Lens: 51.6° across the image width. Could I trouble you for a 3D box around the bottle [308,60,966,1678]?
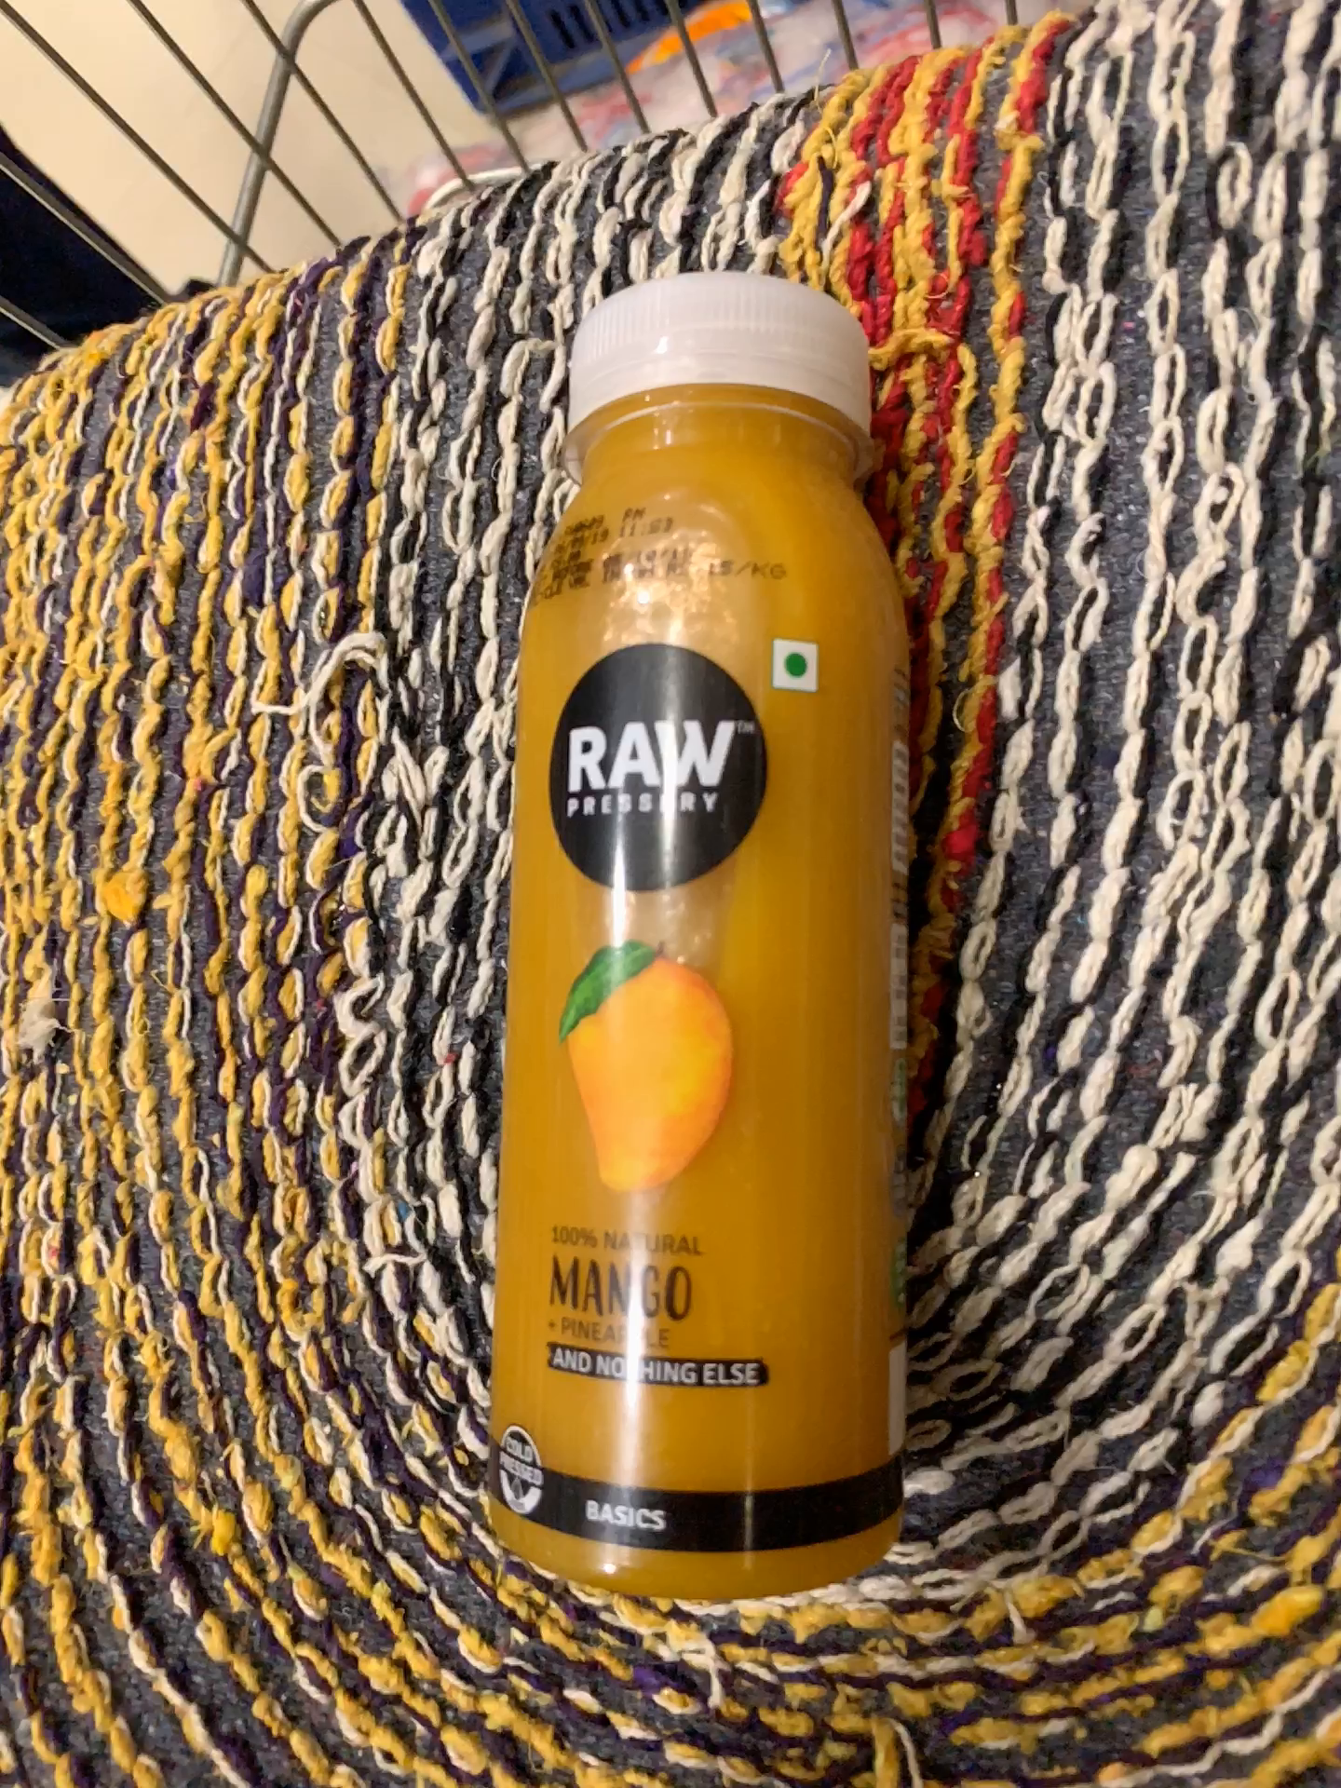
[{"bbox_3d":[0.001,-0.006,0.178,0.060,0.050,0.170,0,81,21],"label":"bottle"}]
